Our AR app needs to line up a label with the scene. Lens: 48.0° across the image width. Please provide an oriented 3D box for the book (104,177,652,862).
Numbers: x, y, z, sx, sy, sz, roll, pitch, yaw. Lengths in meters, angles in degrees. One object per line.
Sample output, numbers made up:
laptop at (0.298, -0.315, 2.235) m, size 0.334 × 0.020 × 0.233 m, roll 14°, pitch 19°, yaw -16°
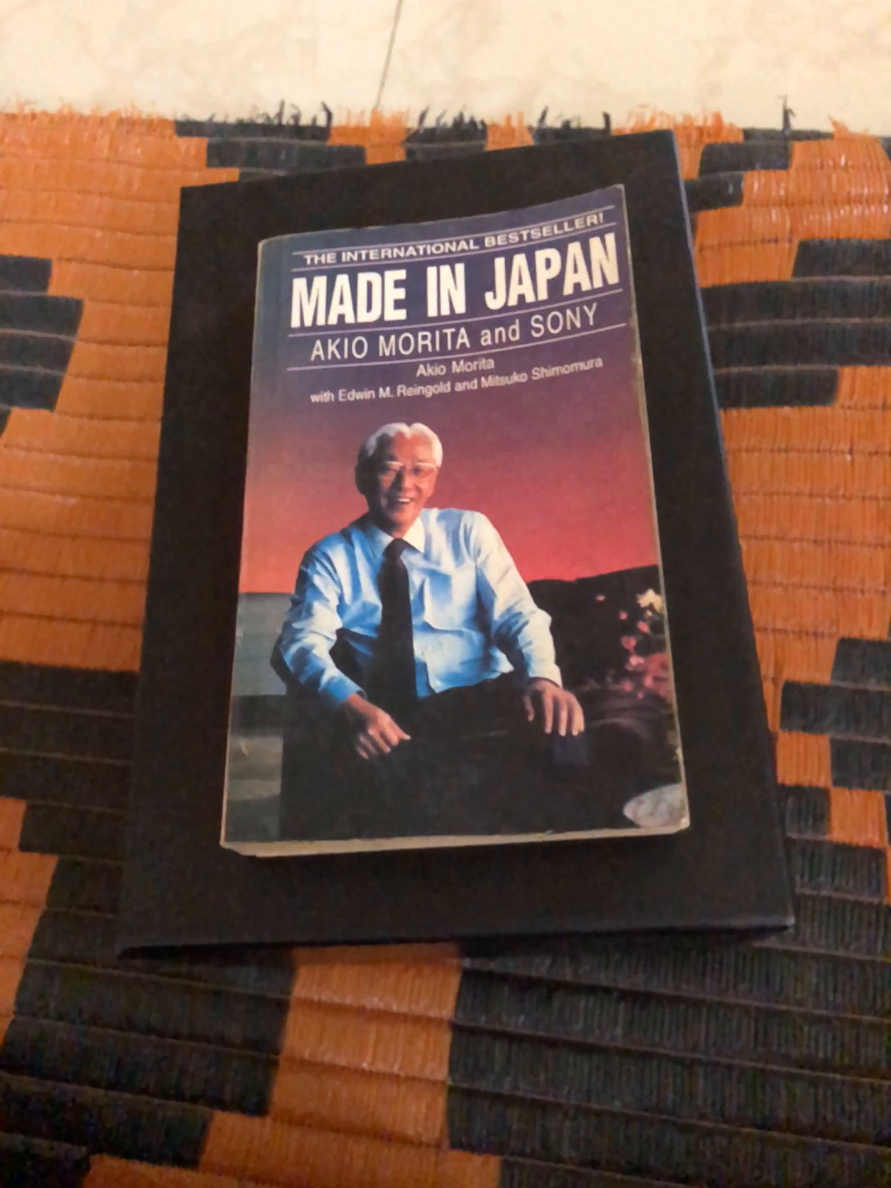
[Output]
book at (-0.015, -0.022, 0.258) m, size 0.120 × 0.030 × 0.170 m, roll -5°, pitch 68°, yaw 9°
